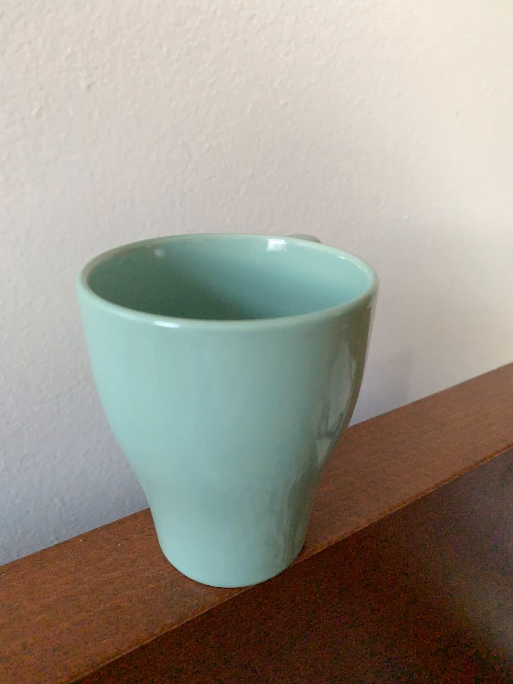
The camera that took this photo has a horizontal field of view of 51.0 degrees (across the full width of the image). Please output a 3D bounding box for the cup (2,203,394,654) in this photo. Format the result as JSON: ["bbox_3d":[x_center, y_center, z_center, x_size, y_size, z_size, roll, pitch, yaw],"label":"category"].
[{"bbox_3d":[-0.006,0.011,0.189,0.081,0.091,0.123,11,24,15],"label":"cup"}]
